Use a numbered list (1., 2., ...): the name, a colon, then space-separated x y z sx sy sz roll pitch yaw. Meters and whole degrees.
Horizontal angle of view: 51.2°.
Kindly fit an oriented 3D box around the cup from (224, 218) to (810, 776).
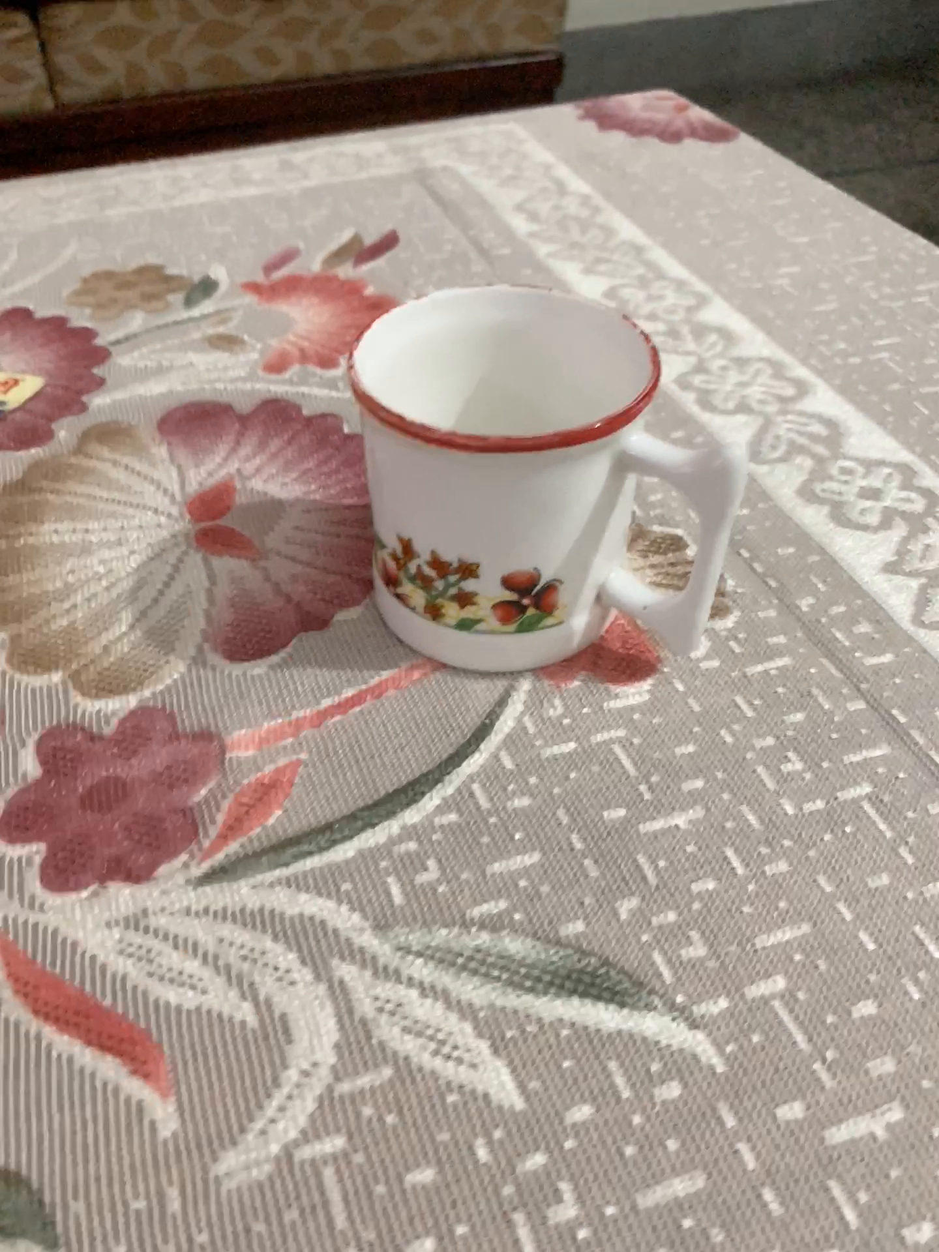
1. cup: 0.011 -0.034 0.231 0.100 0.080 0.070 23 48 23
